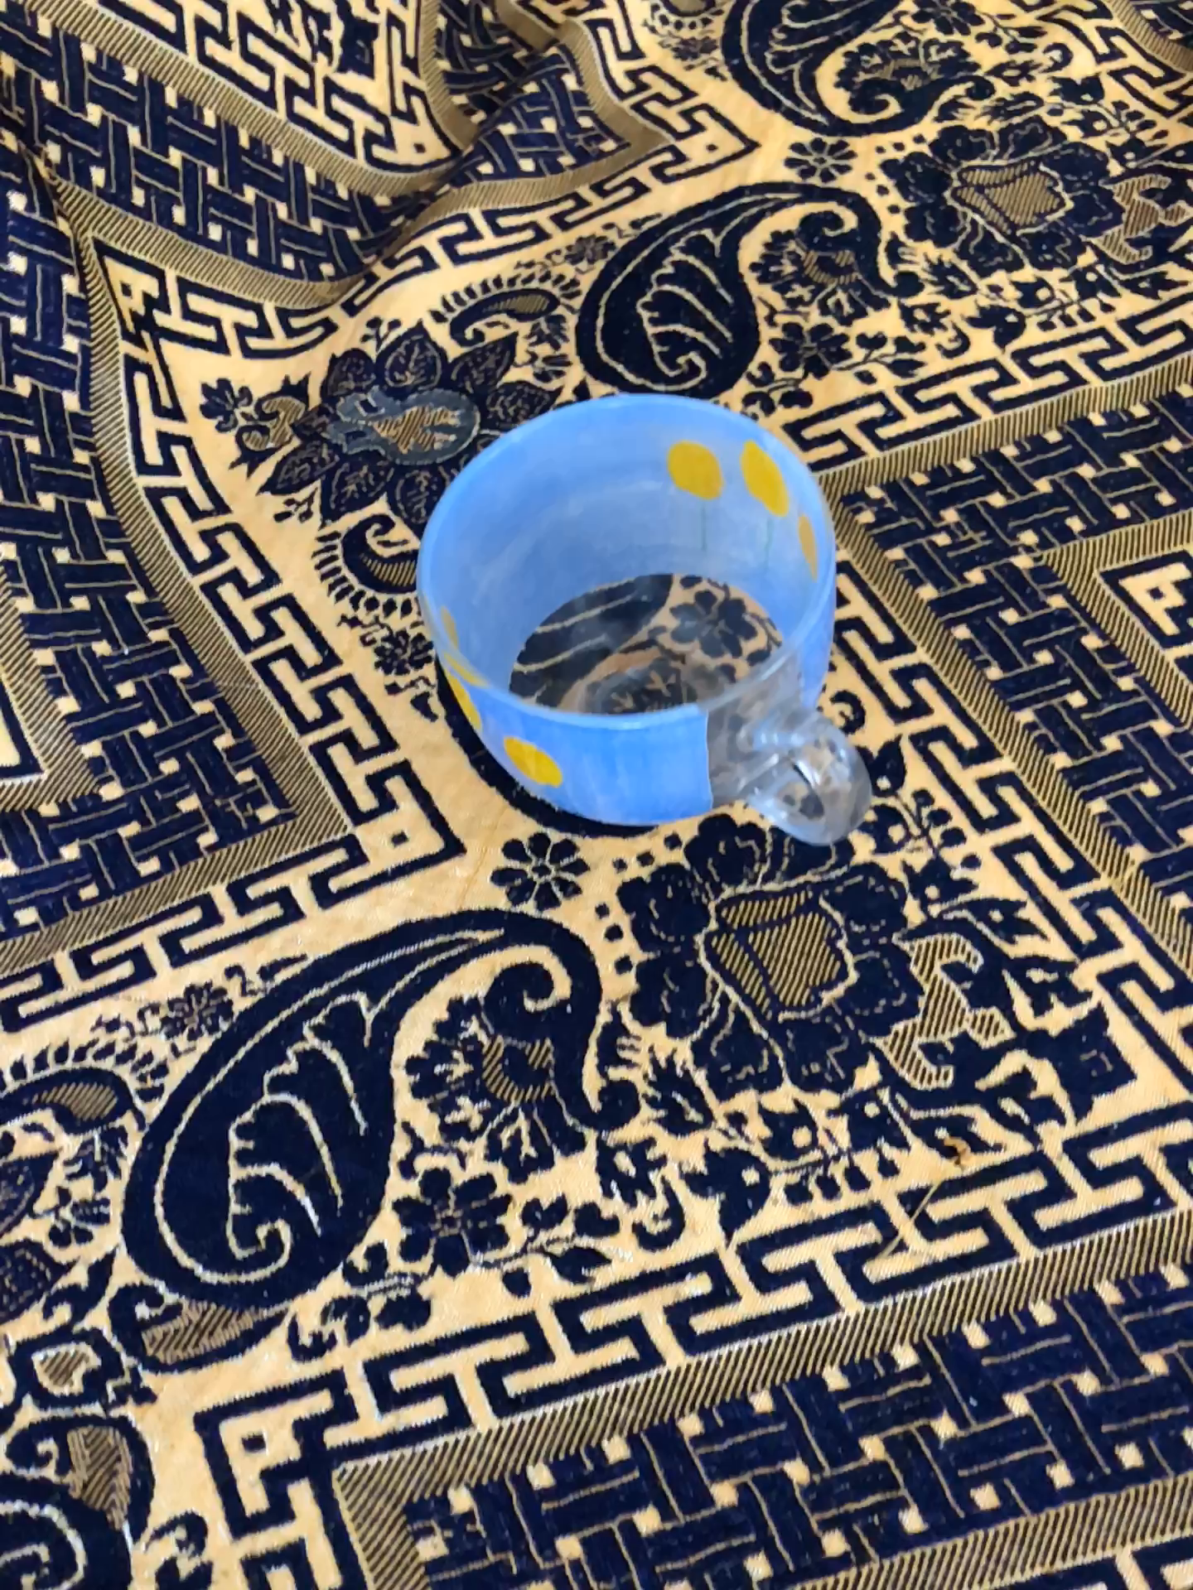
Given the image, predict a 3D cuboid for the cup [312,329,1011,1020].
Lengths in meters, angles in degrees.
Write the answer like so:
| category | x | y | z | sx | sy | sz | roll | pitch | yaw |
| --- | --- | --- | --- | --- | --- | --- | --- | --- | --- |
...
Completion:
| category | x | y | z | sx | sy | sz | roll | pitch | yaw |
| --- | --- | --- | --- | --- | --- | --- | --- | --- | --- |
| cup | 0.014 | -0.036 | 0.353 | 0.108 | 0.072 | 0.139 | -35 | 62 | -15 |
